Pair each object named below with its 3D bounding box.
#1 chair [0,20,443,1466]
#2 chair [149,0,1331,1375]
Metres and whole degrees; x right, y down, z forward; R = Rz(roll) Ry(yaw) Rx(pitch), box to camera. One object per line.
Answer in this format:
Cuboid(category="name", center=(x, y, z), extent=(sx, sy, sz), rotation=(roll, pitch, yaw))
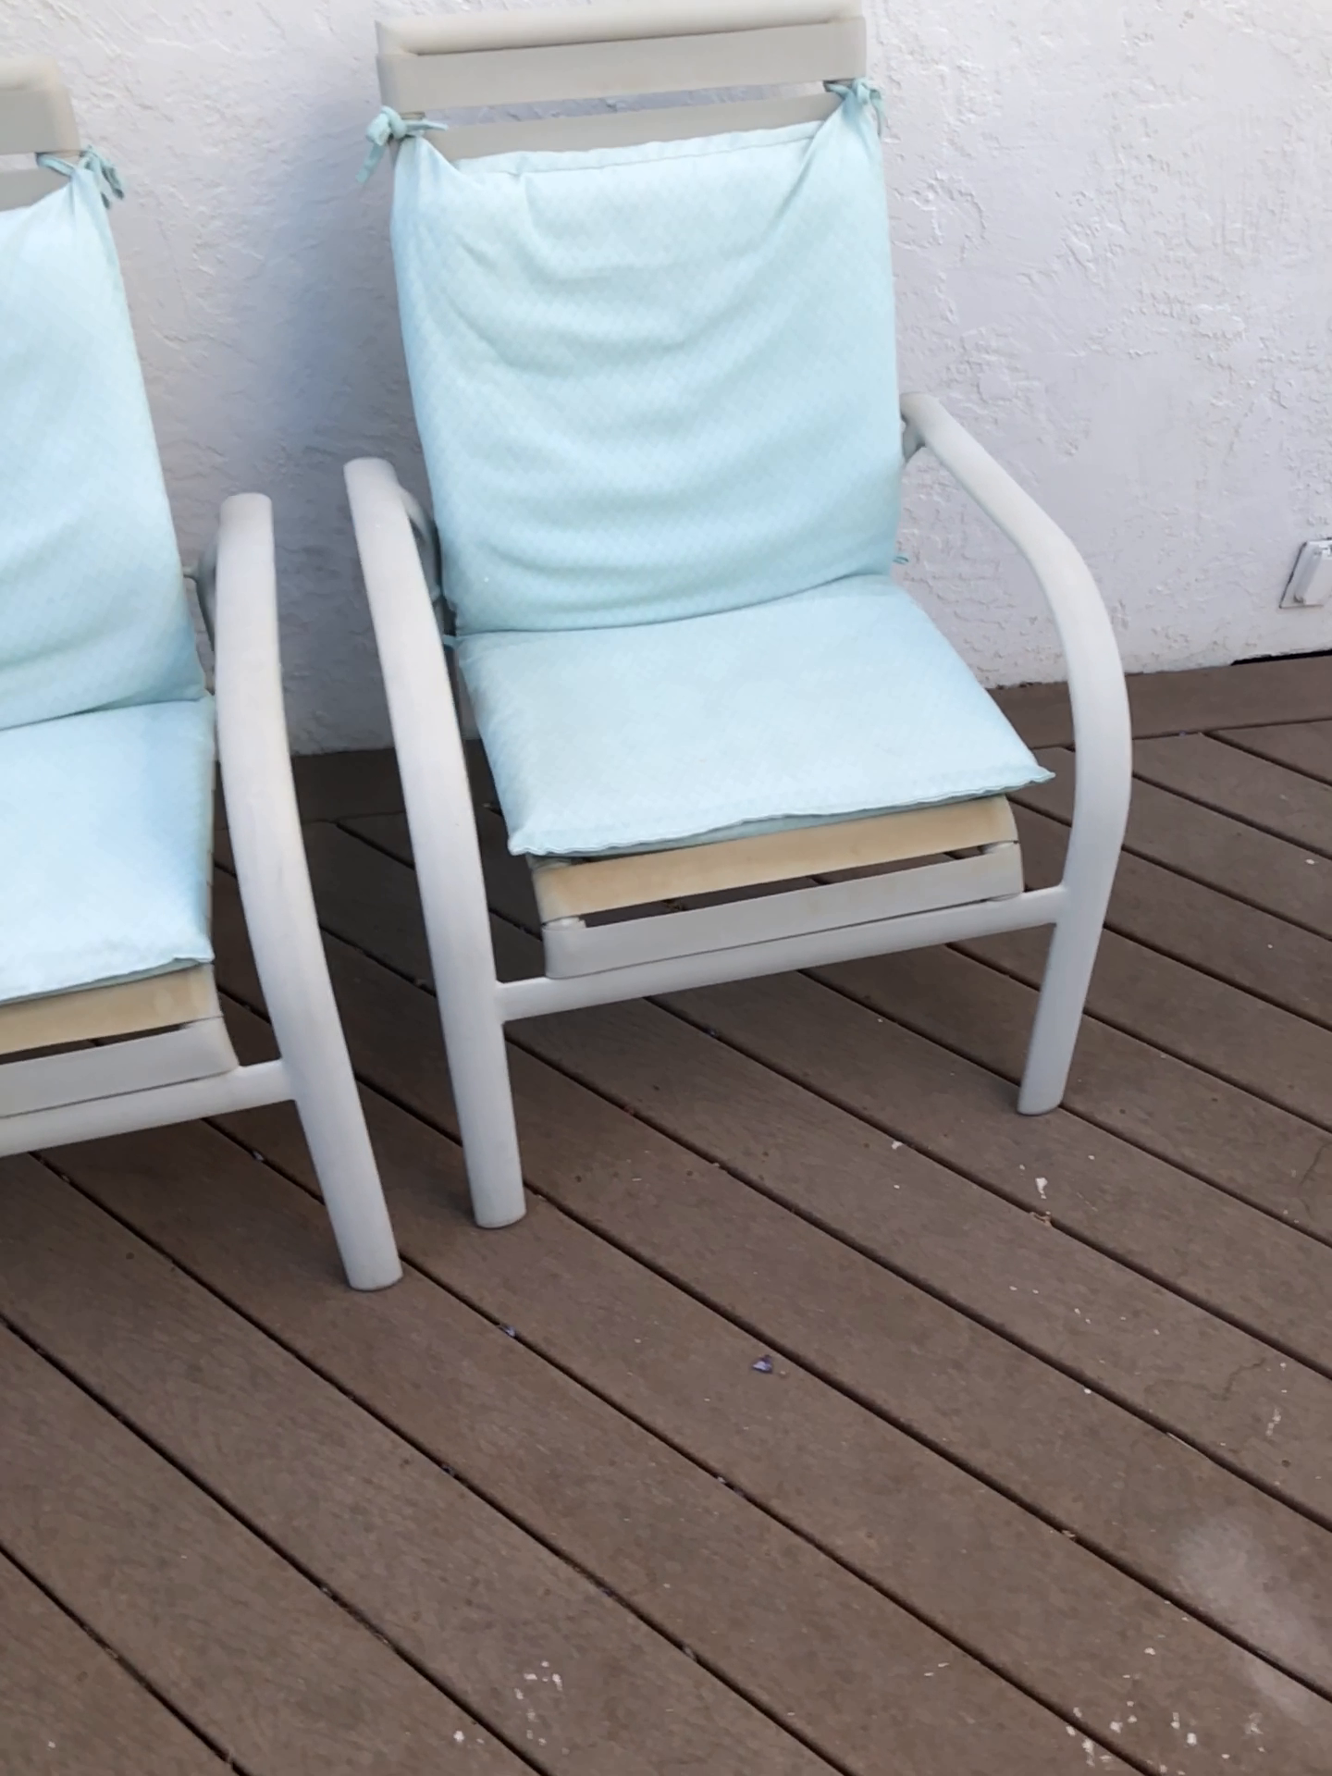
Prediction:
Cuboid(category="chair", center=(-0.656, -0.123, 1.348), extent=(0.700, 0.965, 0.784), rotation=(-9, 47, -9))
Cuboid(category="chair", center=(-0.014, -0.207, 1.733), extent=(0.840, 1.273, 0.874), rotation=(-9, 47, -9))
